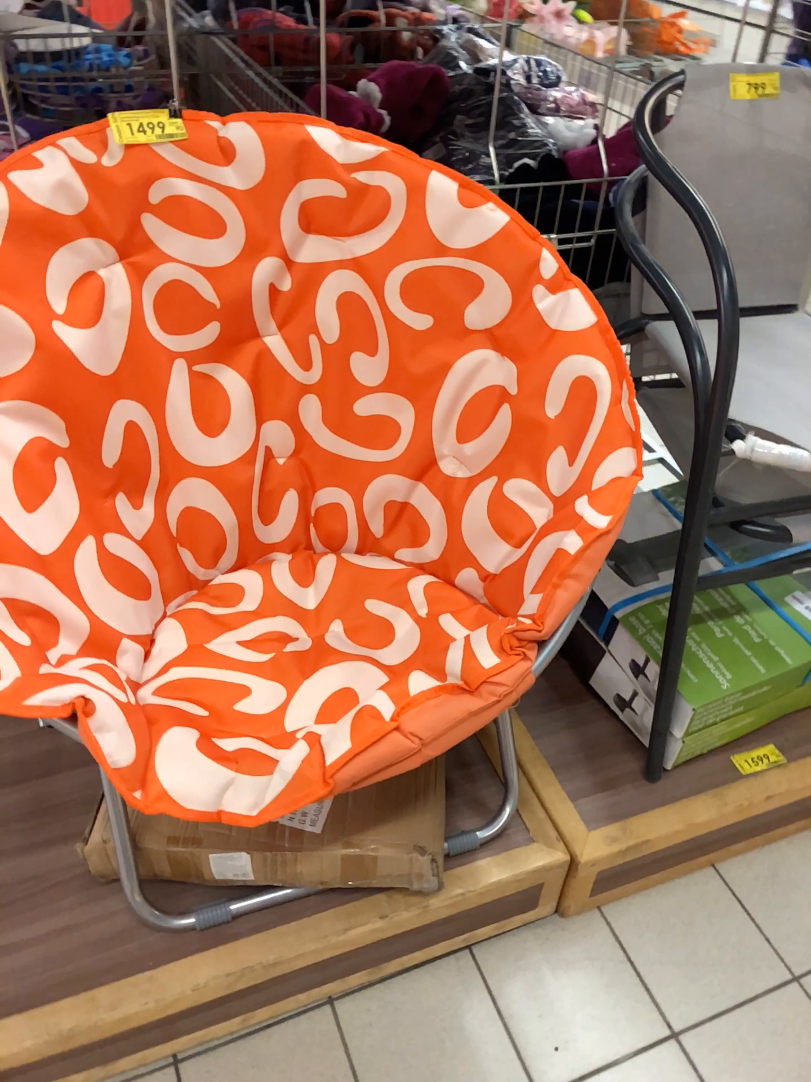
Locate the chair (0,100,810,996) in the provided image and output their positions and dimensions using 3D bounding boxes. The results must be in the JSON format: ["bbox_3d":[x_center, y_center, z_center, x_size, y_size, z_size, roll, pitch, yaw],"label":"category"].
[{"bbox_3d":[-0.124,-0.084,1.018,0.735,0.606,0.714,-10,40,-17],"label":"chair"}]
